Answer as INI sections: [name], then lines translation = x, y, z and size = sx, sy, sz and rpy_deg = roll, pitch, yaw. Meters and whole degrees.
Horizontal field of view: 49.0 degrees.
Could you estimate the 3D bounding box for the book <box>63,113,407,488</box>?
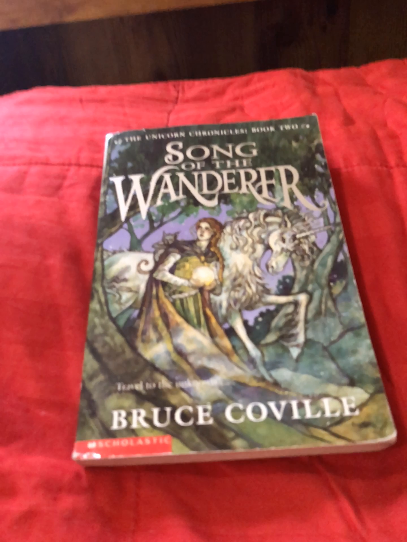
[book]
translation = 0.009, 0.001, 0.229
size = 0.130, 0.030, 0.191
rpy_deg = -4, 59, 2
